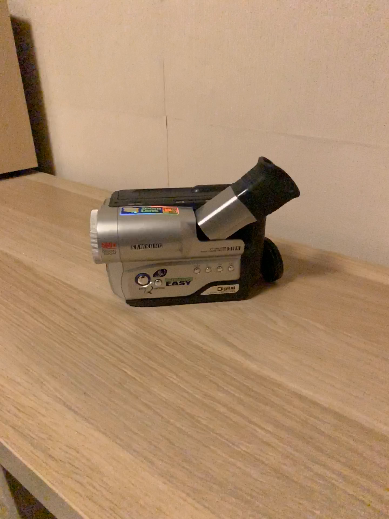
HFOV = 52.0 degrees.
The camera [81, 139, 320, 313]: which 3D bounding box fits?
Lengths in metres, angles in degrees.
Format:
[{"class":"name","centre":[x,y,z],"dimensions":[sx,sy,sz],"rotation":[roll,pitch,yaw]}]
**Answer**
[{"class":"camera","centre":[0.001,-0.039,0.393],"dimensions":[0.192,0.133,0.107],"rotation":[-2,27,-7]}]
